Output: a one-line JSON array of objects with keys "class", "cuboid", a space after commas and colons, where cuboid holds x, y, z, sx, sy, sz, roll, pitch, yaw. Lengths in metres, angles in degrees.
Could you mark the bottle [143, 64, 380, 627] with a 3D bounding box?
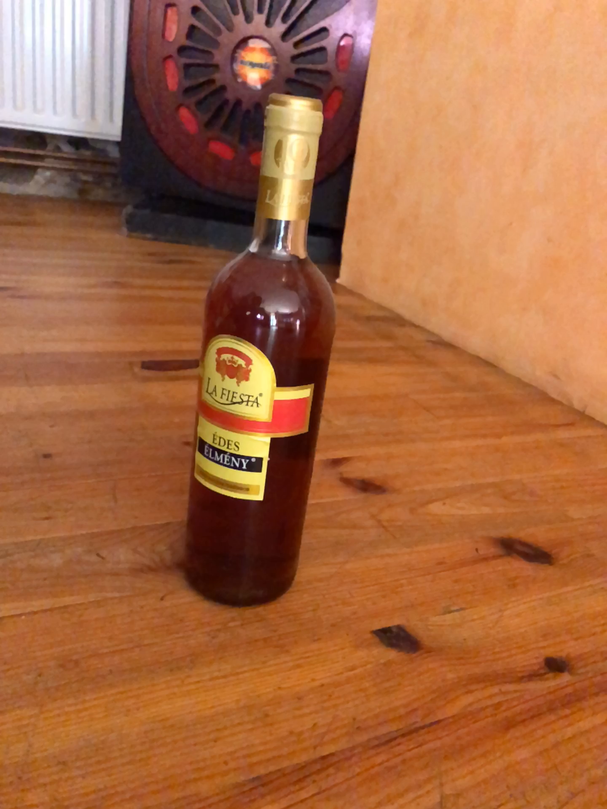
[{"class": "bottle", "cuboid": [-0.030, -0.027, 0.385, 0.080, 0.289, 0.080, 6, 21, -2]}]
